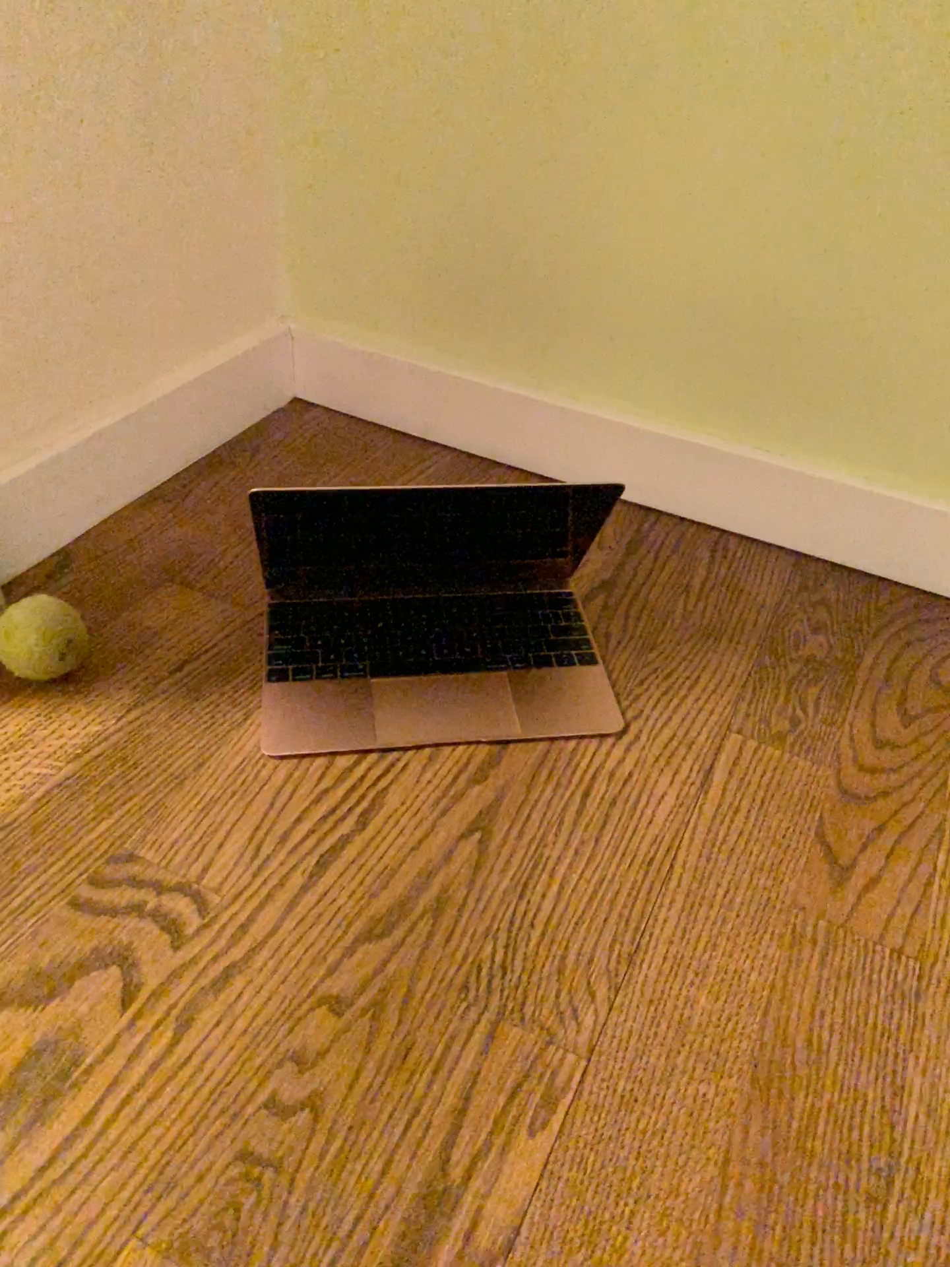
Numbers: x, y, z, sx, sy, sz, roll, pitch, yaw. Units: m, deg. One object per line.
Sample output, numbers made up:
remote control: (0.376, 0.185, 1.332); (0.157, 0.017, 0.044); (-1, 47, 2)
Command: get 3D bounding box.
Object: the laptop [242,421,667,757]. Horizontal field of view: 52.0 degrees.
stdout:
laptop: (-0.030, -0.044, 0.785); (0.288, 0.168, 0.207); (-3, 40, -9)
